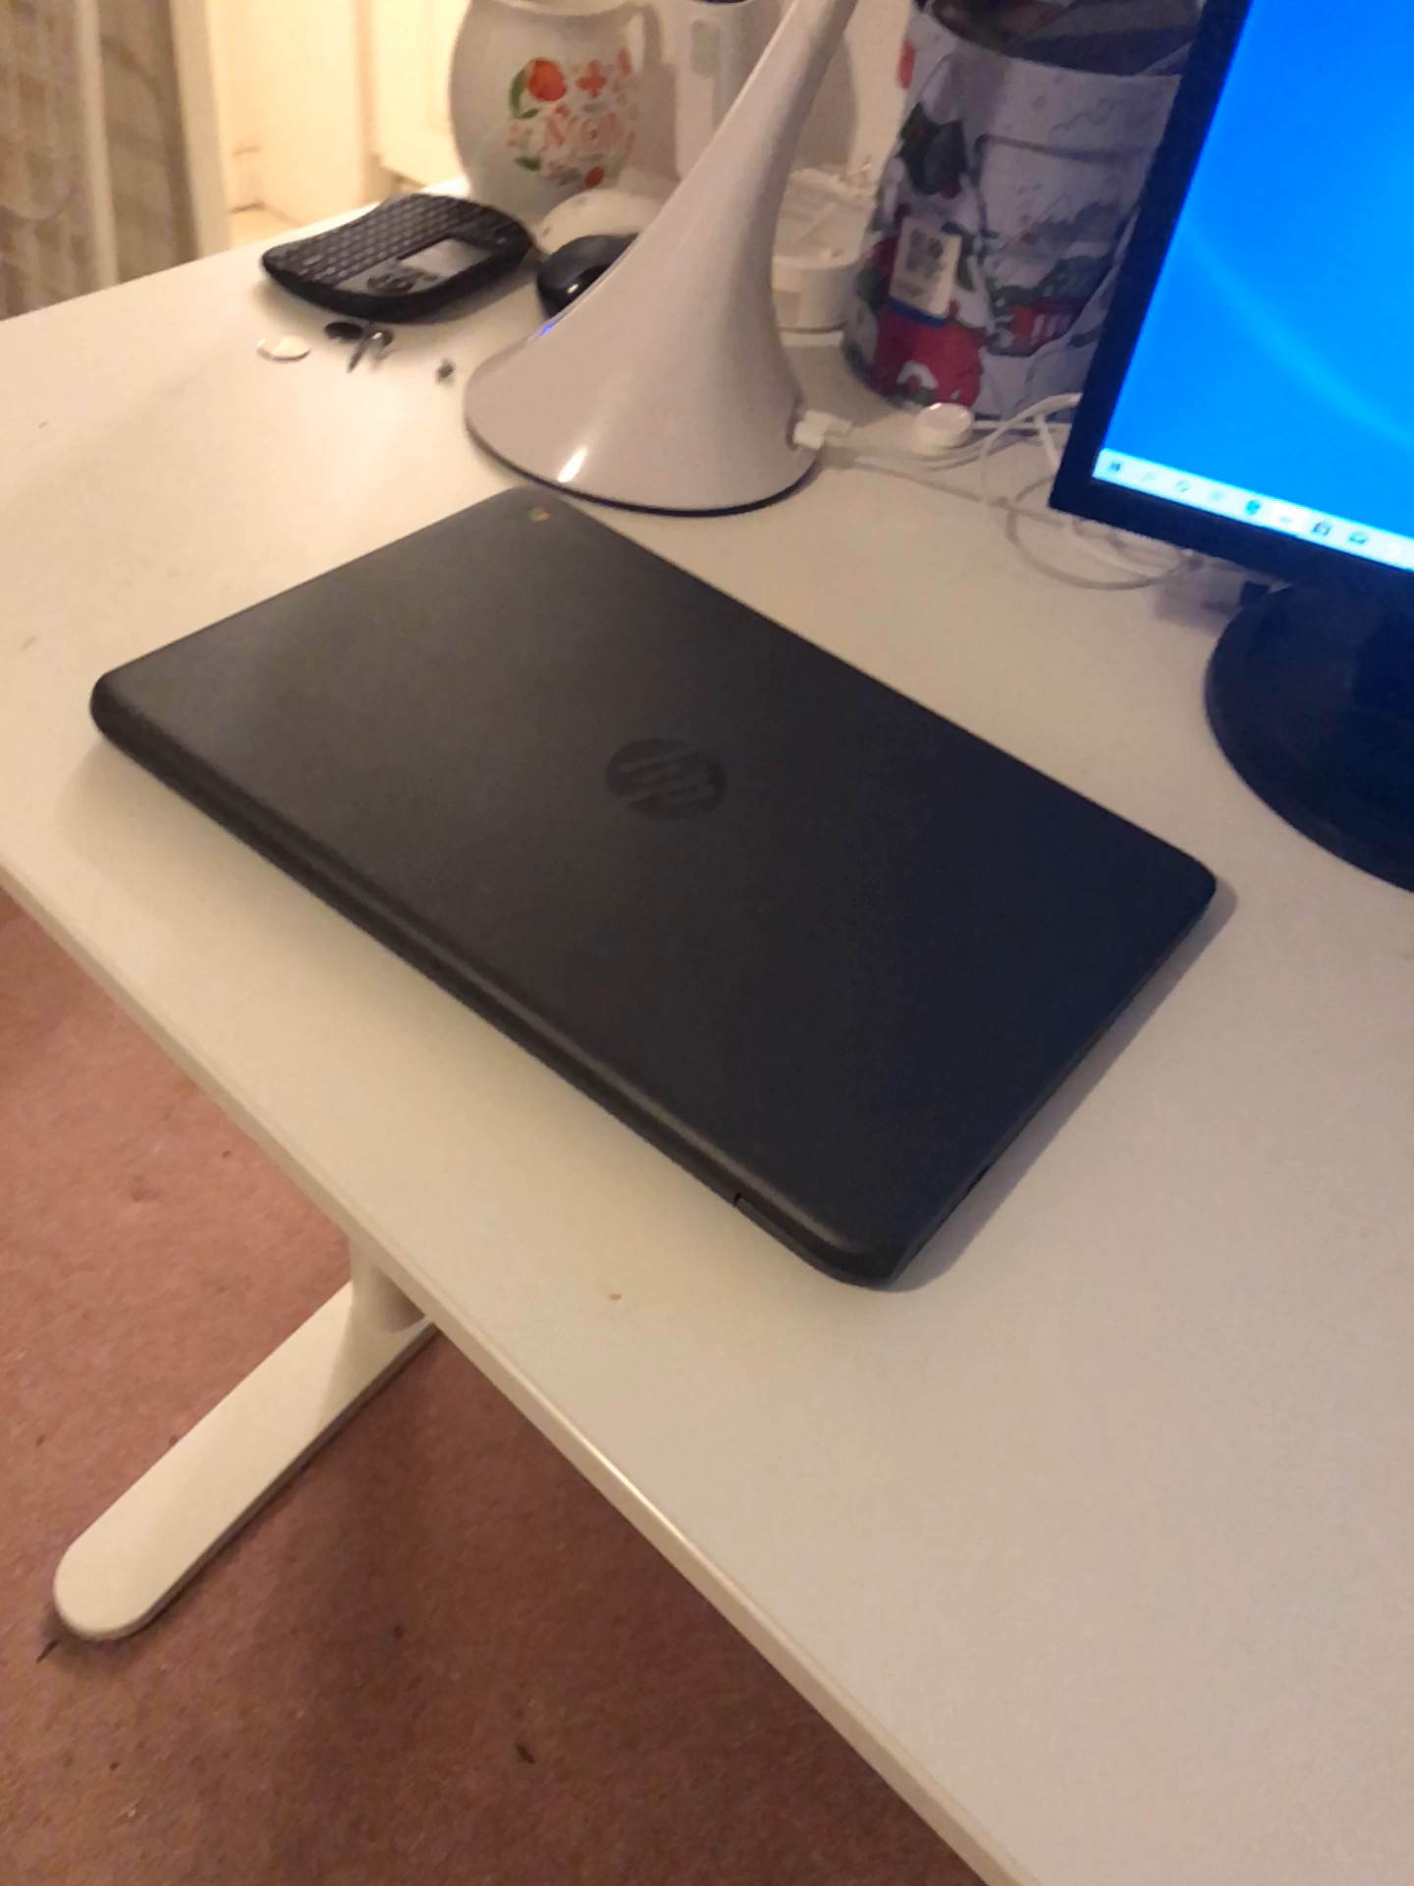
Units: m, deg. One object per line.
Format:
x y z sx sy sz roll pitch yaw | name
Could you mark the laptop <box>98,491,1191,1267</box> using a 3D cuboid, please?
-0.020 -0.053 0.537 0.326 0.001 0.209 34 50 21 | laptop
